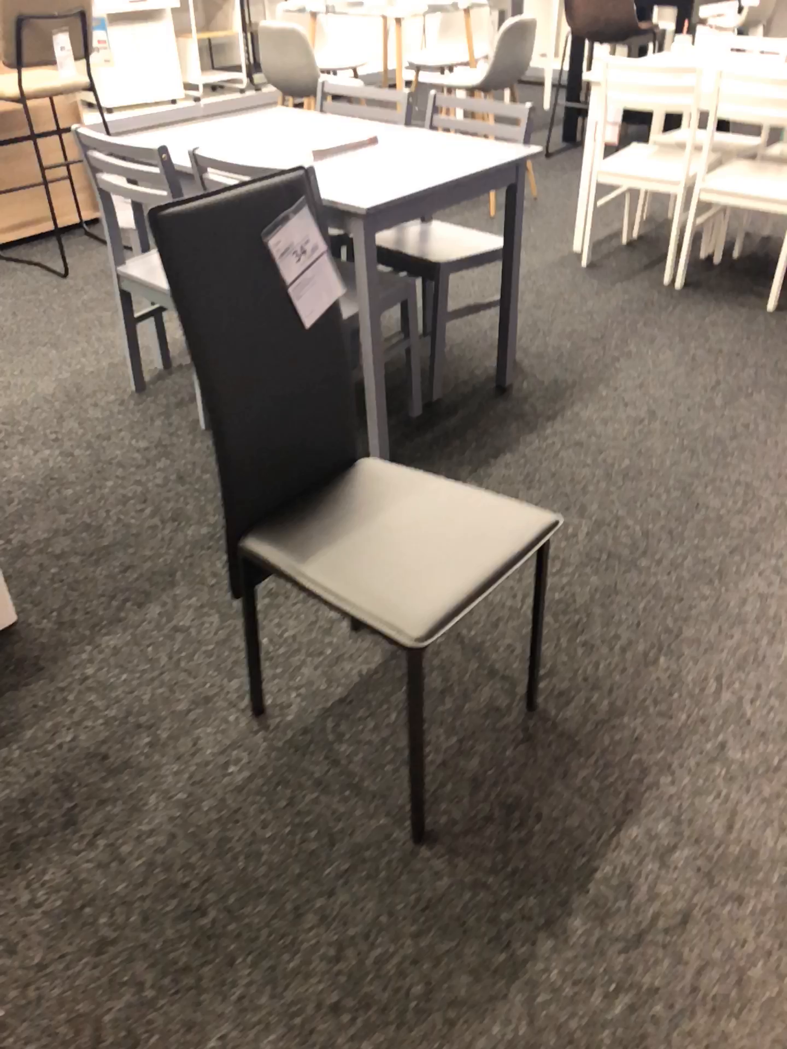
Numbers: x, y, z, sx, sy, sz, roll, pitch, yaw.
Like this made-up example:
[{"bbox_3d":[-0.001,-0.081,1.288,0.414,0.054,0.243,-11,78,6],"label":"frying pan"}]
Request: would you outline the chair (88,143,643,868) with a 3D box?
[{"bbox_3d":[-0.029,-0.044,1.399,0.560,0.935,0.473,24,42,31],"label":"chair"}]
